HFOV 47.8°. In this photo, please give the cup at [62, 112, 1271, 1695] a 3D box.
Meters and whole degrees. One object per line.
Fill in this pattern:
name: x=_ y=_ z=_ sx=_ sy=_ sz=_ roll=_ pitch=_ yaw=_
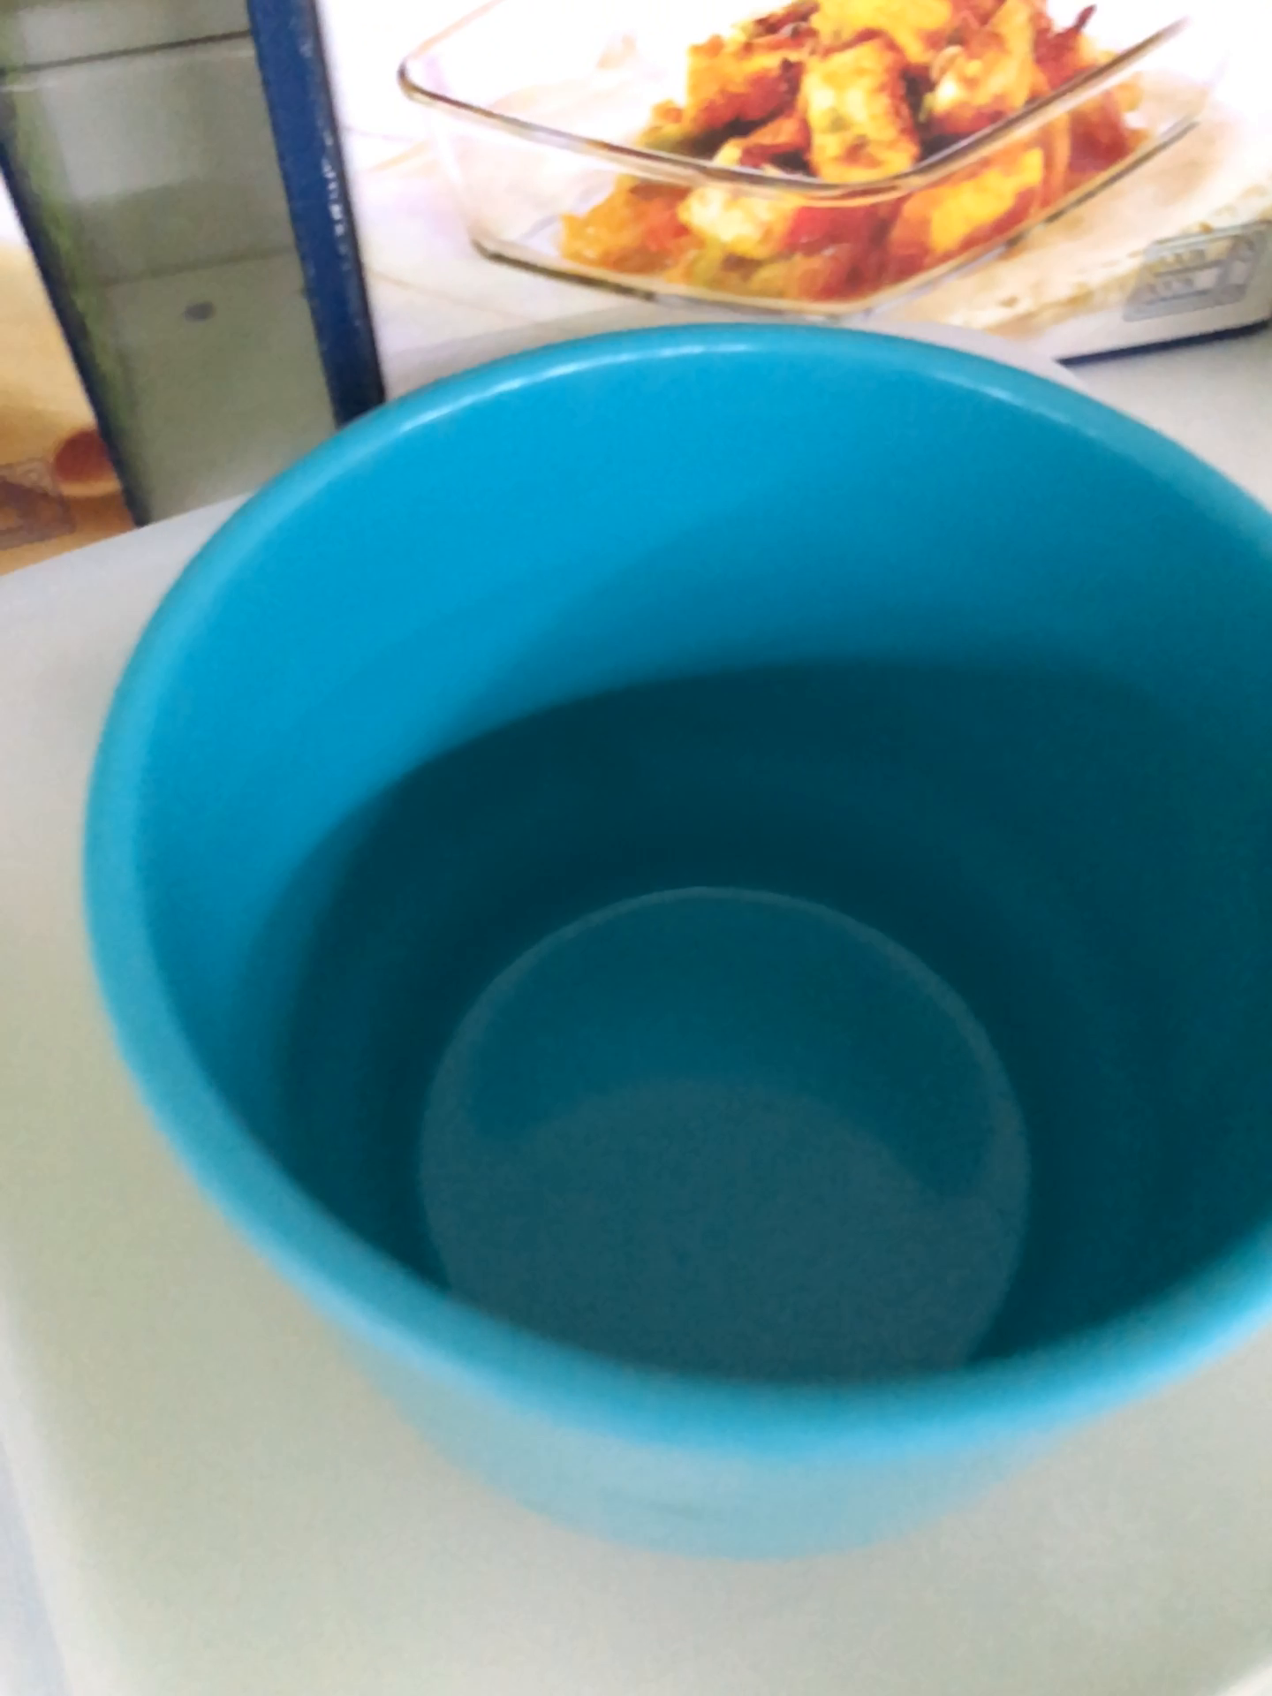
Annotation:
cup: x=0.026 y=0.004 z=0.118 sx=0.120 sy=0.070 sz=0.090 roll=-11 pitch=56 yaw=-8
